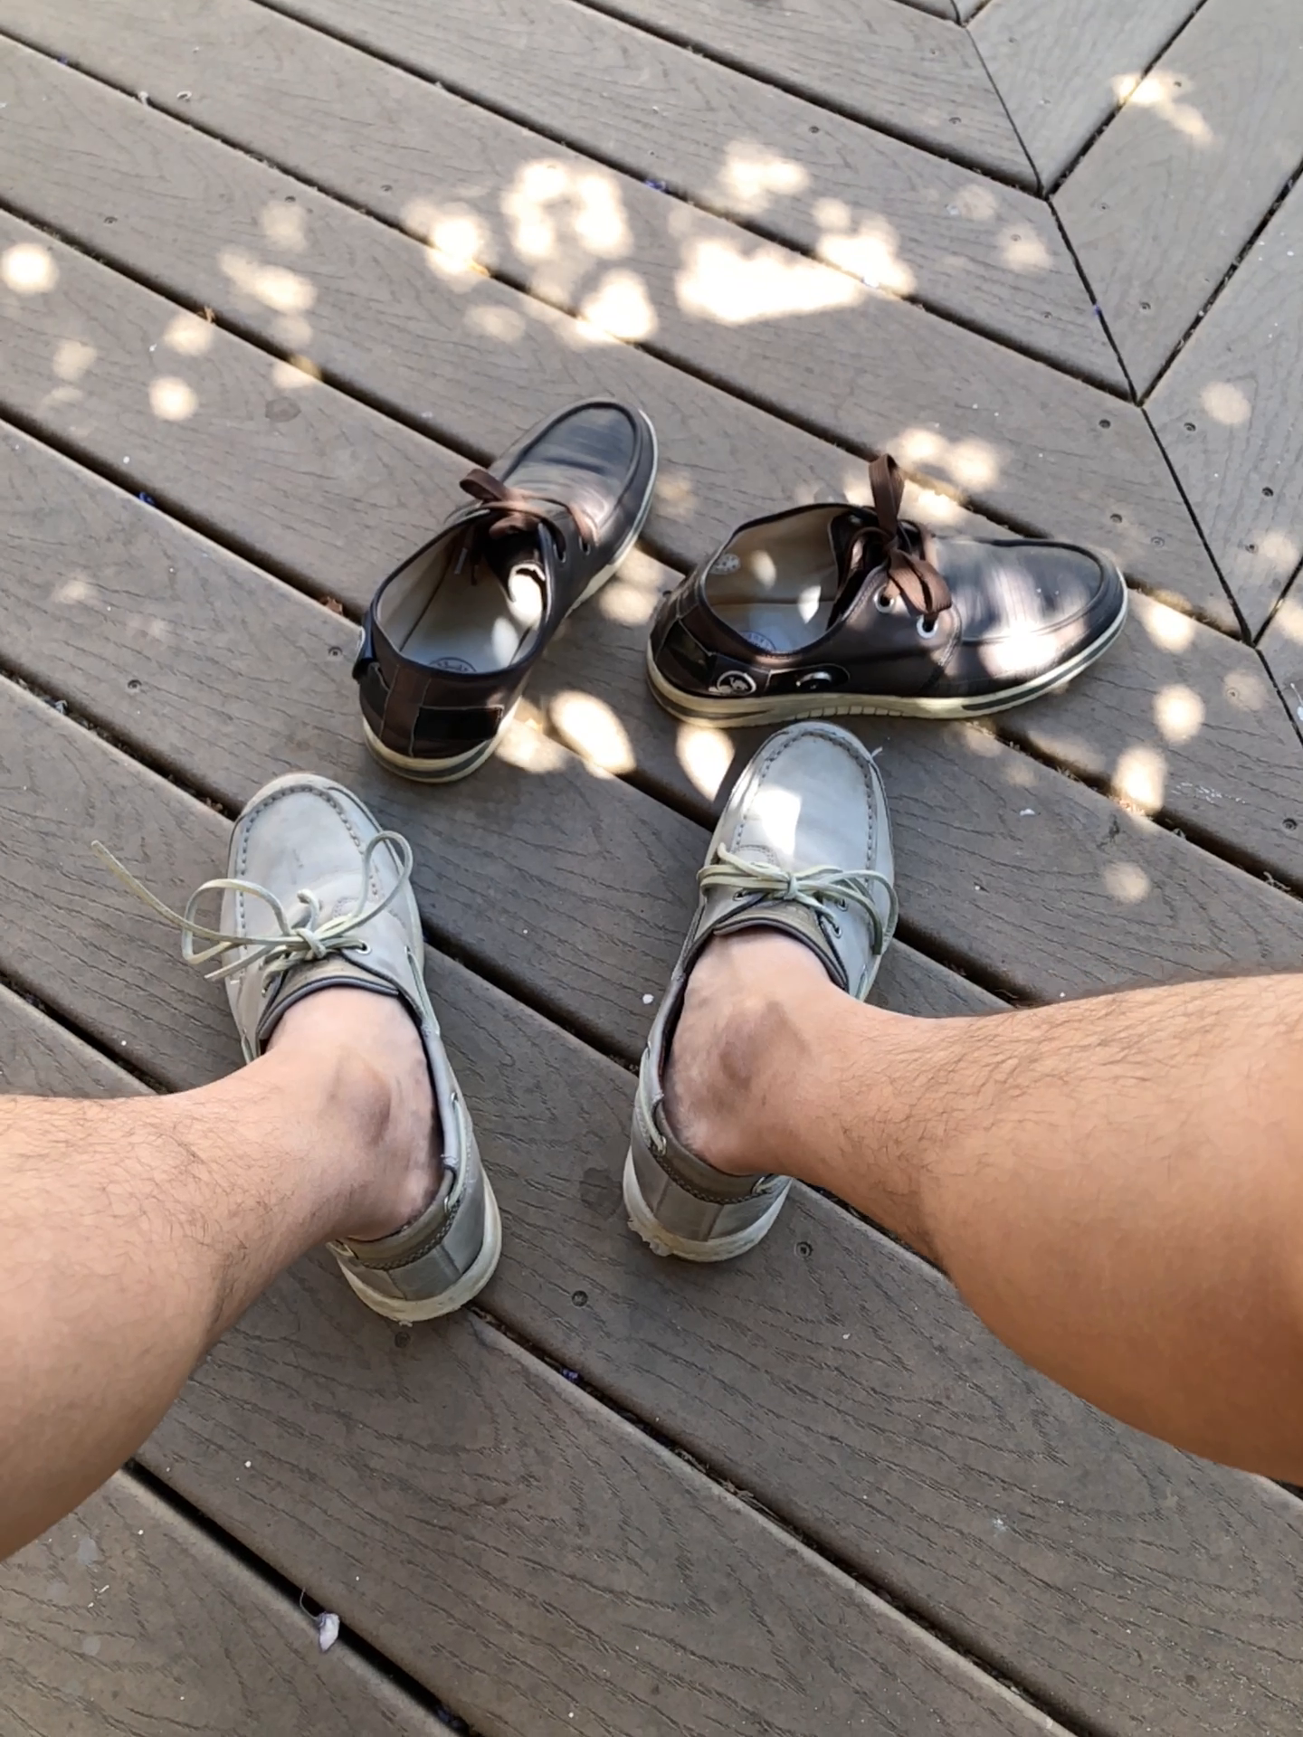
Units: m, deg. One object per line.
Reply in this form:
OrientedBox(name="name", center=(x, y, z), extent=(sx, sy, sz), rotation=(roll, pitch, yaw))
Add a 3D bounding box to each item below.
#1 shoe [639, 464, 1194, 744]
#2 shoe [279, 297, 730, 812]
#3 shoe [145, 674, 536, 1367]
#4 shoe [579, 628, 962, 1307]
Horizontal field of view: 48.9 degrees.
OrientedBox(name="shoe", center=(0.136, -0.145, 0.790), extent=(0.277, 0.079, 0.110), rotation=(-4, 64, -3))
OrientedBox(name="shoe", center=(-0.072, -0.179, 0.795), extent=(0.109, 0.069, 0.279), rotation=(27, 68, 11))
OrientedBox(name="shoe", center=(-0.147, 0.064, 0.671), extent=(0.109, 0.086, 0.293), rotation=(-15, 65, -9))
OrientedBox(name="shoe", center=(0.060, 0.043, 0.691), extent=(0.109, 0.101, 0.293), rotation=(14, 65, 5))
